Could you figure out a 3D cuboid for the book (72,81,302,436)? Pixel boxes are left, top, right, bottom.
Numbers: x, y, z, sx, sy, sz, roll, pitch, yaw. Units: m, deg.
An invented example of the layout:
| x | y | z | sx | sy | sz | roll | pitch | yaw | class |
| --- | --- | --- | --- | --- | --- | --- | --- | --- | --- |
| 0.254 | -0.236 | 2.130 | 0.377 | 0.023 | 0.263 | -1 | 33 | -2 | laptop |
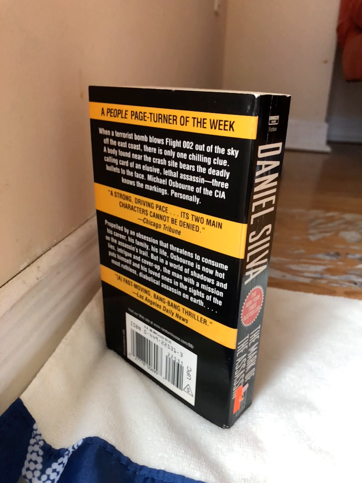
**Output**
| x | y | z | sx | sy | sz | roll | pitch | yaw | class |
| --- | --- | --- | --- | --- | --- | --- | --- | --- | --- |
| -0.006 | 0.000 | 0.236 | 0.045 | 0.169 | 0.119 | -18 | 29 | -40 | book |
